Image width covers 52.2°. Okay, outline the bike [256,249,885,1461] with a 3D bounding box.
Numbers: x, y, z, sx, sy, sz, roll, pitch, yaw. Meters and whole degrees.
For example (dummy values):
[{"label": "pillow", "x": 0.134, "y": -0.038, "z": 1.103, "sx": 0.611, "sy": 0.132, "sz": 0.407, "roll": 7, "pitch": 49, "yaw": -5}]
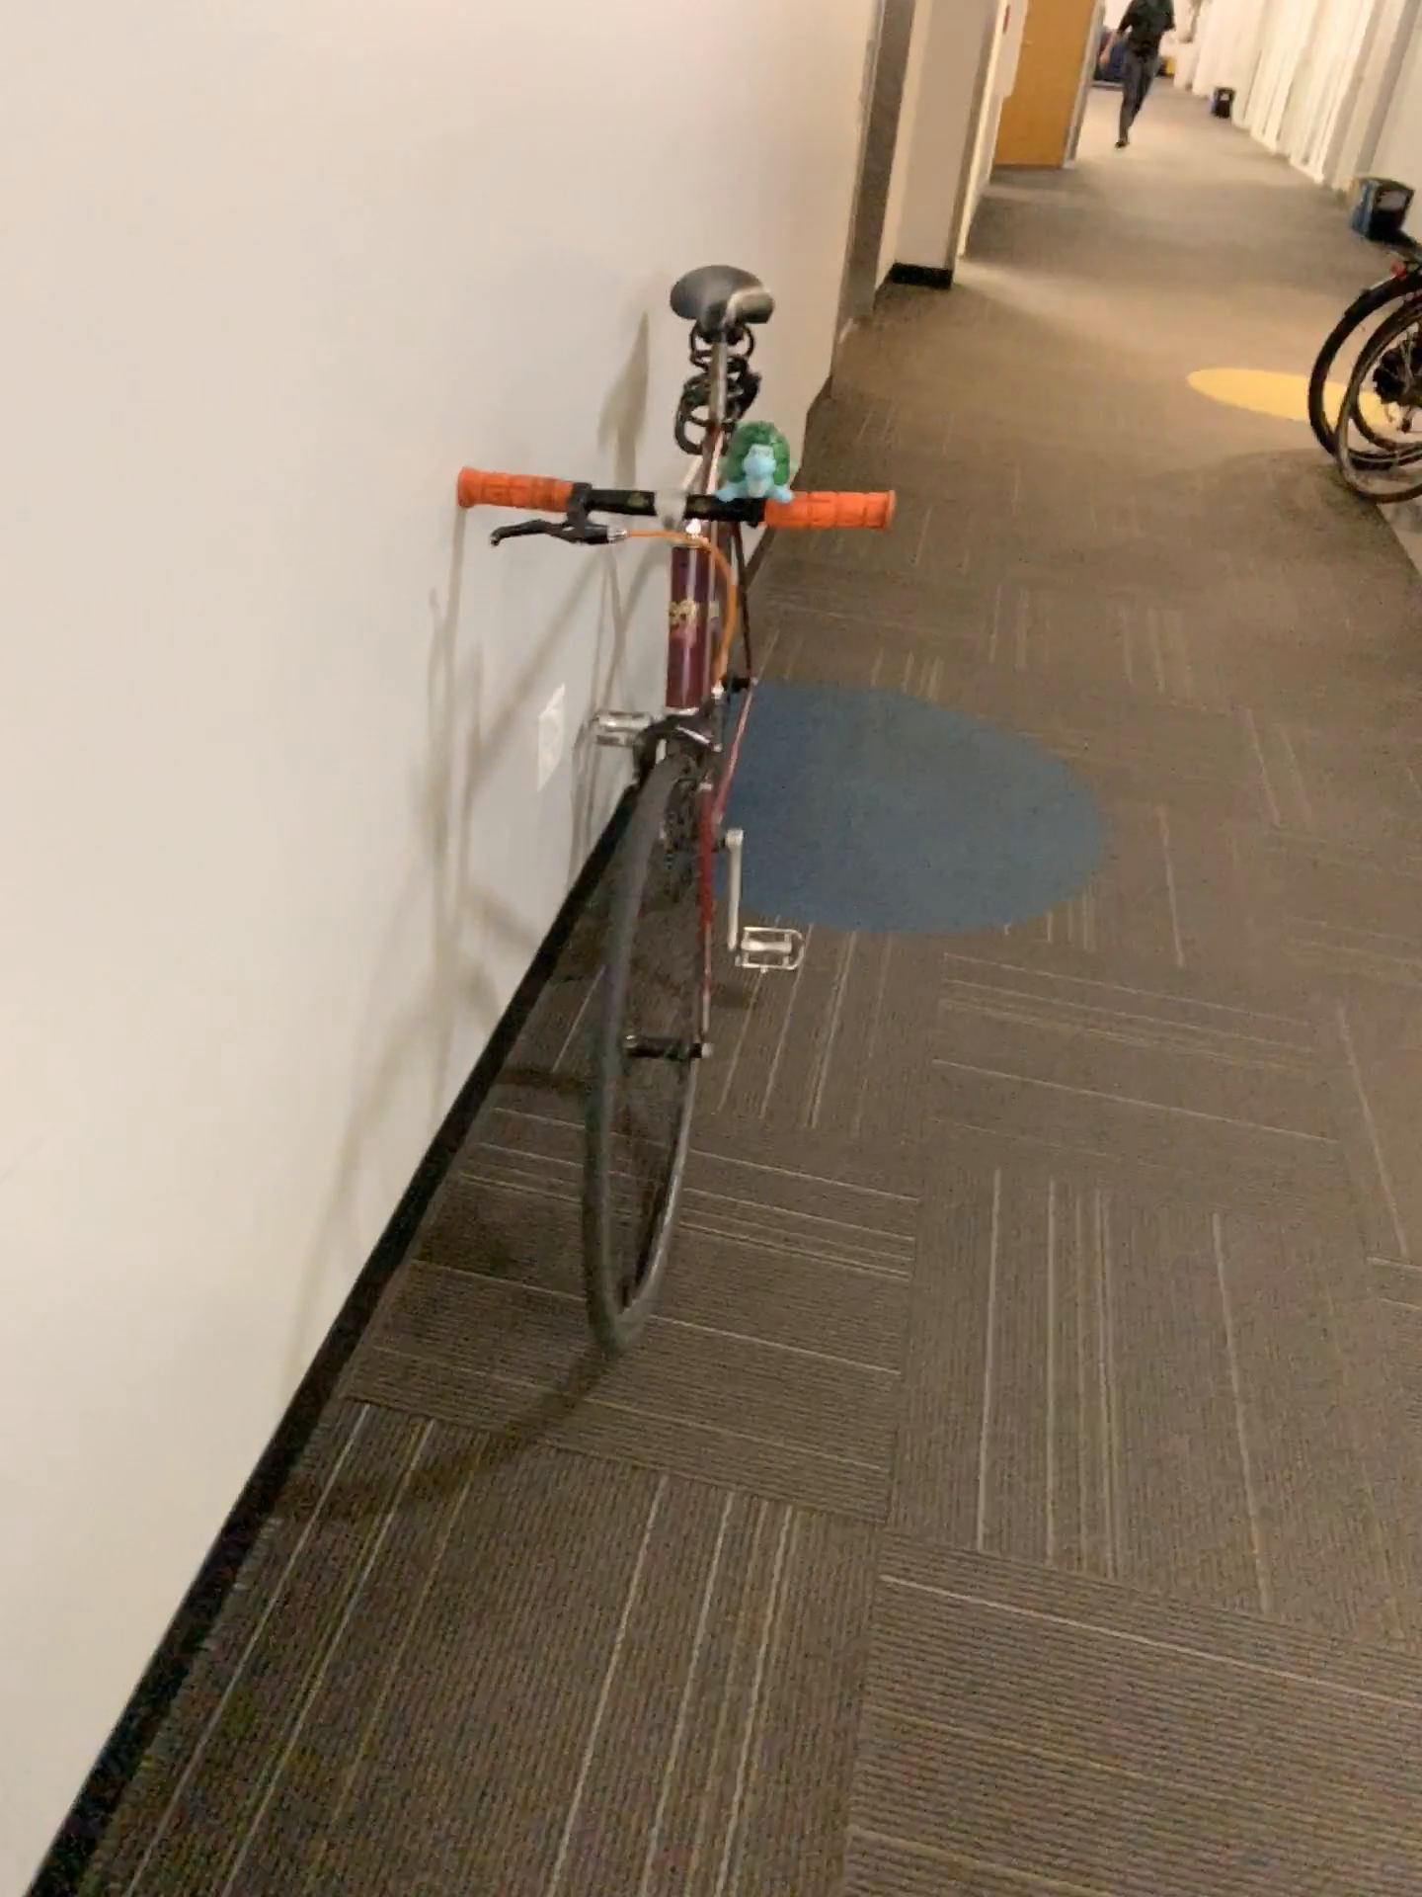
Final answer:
[{"label": "bike", "x": -0.078, "y": -0.303, "z": 1.964, "sx": 0.448, "sy": 0.909, "sz": 1.636, "roll": 7, "pitch": 34, "yaw": 1}]
